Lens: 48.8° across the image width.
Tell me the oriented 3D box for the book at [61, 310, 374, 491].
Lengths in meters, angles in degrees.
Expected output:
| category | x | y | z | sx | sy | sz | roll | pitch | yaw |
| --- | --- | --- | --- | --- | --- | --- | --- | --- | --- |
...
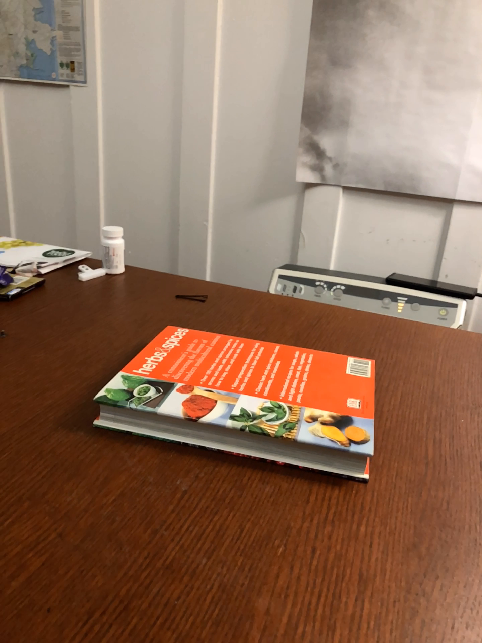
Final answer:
| category | x | y | z | sx | sy | sz | roll | pitch | yaw |
| --- | --- | --- | --- | --- | --- | --- | --- | --- | --- |
| book | -0.005 | 0.062 | 0.546 | 0.270 | 0.040 | 0.211 | 9 | 22 | 11 |
